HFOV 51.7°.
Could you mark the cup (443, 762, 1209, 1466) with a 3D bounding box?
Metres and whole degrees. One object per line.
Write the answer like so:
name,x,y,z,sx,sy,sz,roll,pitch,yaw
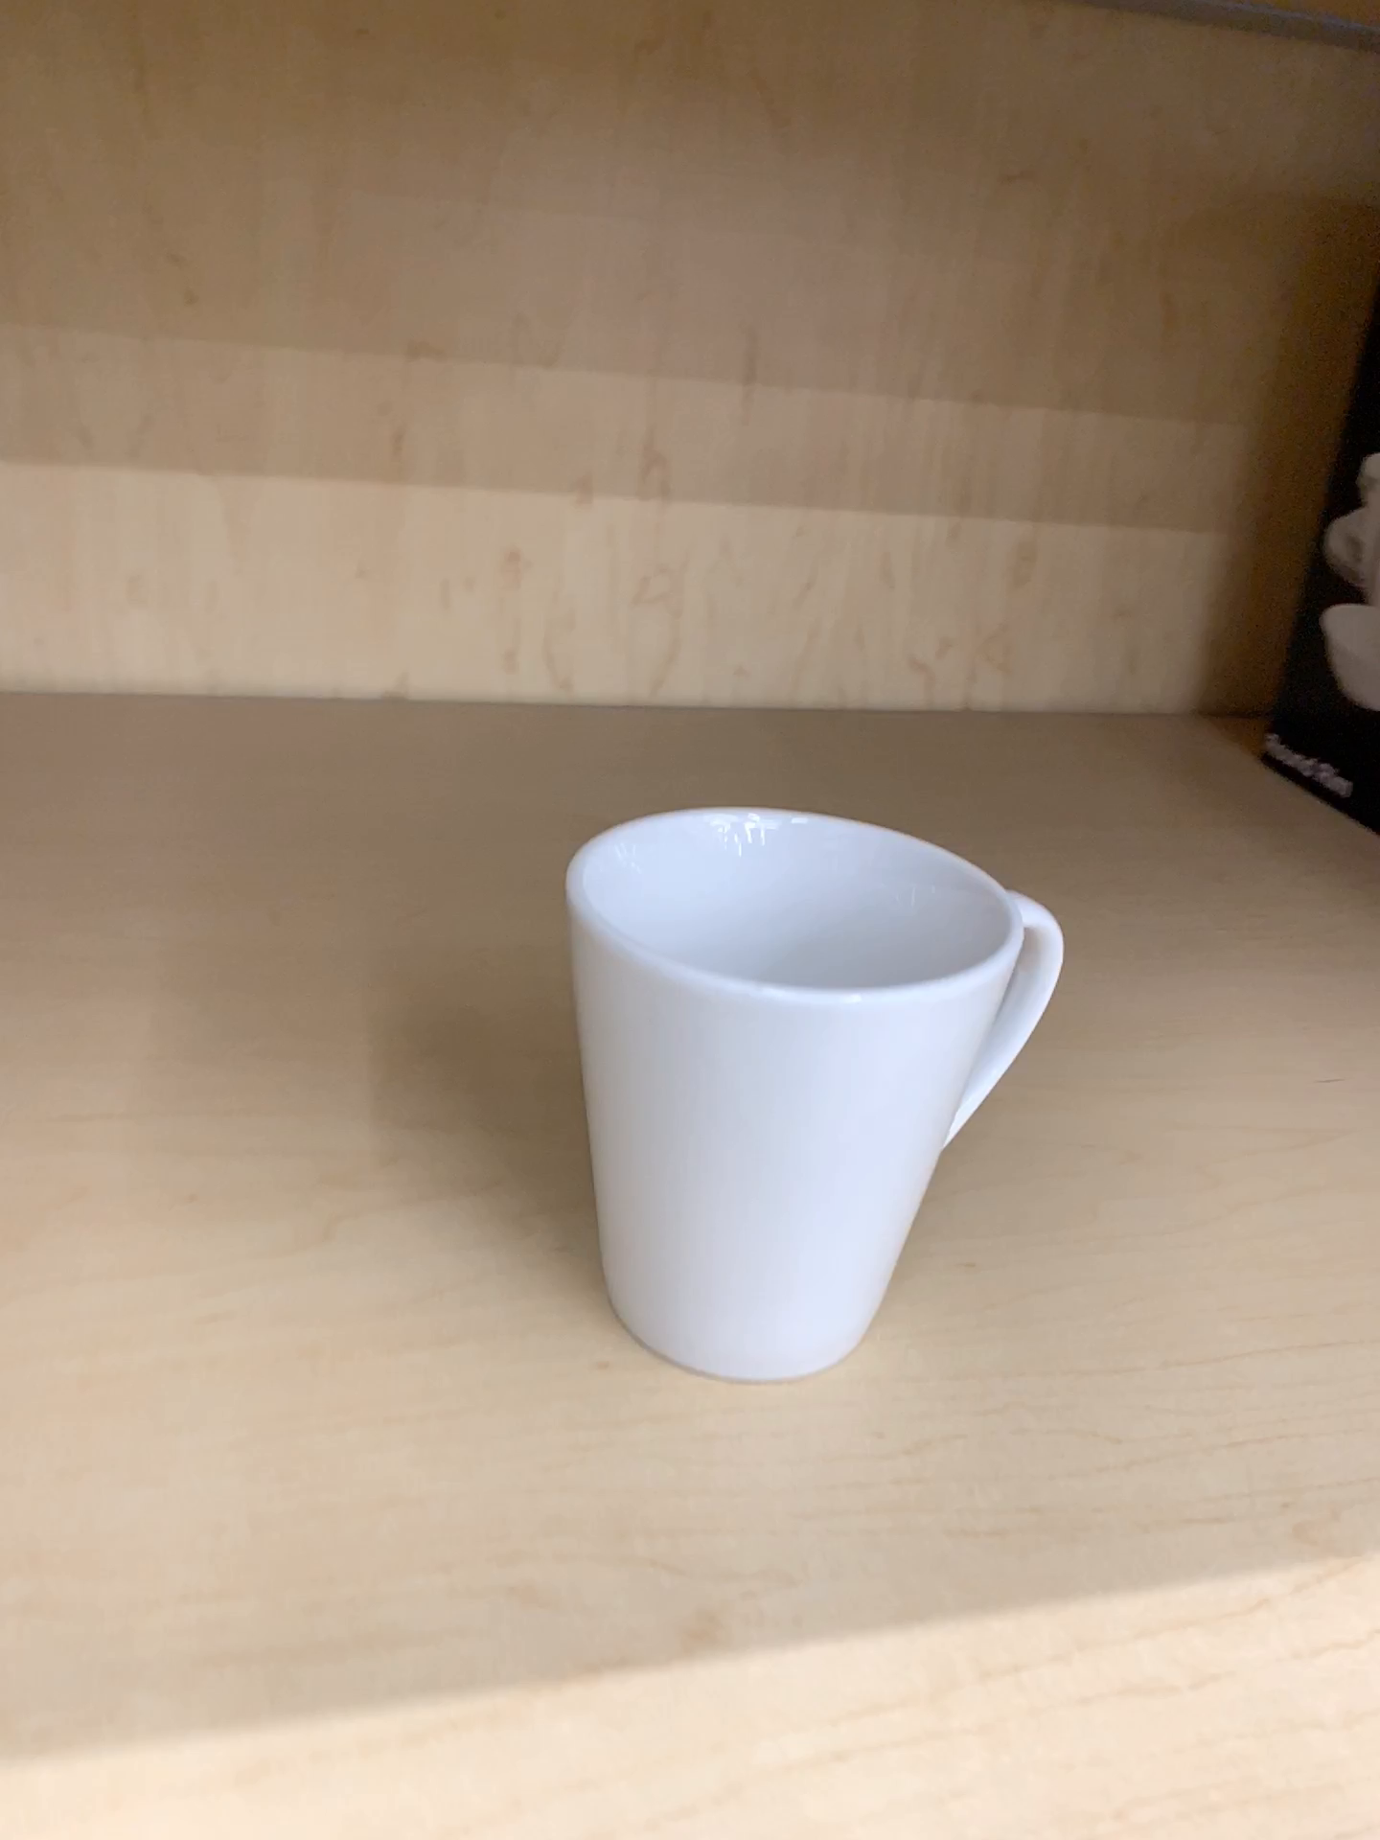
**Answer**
cup,0.027,0.031,0.319,0.129,0.090,0.094,-13,34,-36
